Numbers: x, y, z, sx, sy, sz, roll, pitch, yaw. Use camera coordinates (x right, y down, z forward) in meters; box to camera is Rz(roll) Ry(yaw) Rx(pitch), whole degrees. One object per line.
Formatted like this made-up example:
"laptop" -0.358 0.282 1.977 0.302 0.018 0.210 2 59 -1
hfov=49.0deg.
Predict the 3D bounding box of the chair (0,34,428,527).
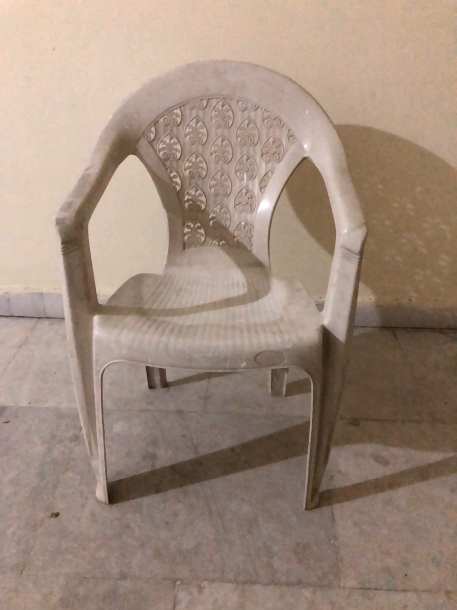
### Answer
"chair" -0.026 -0.065 1.013 0.530 0.834 0.514 2 29 2
